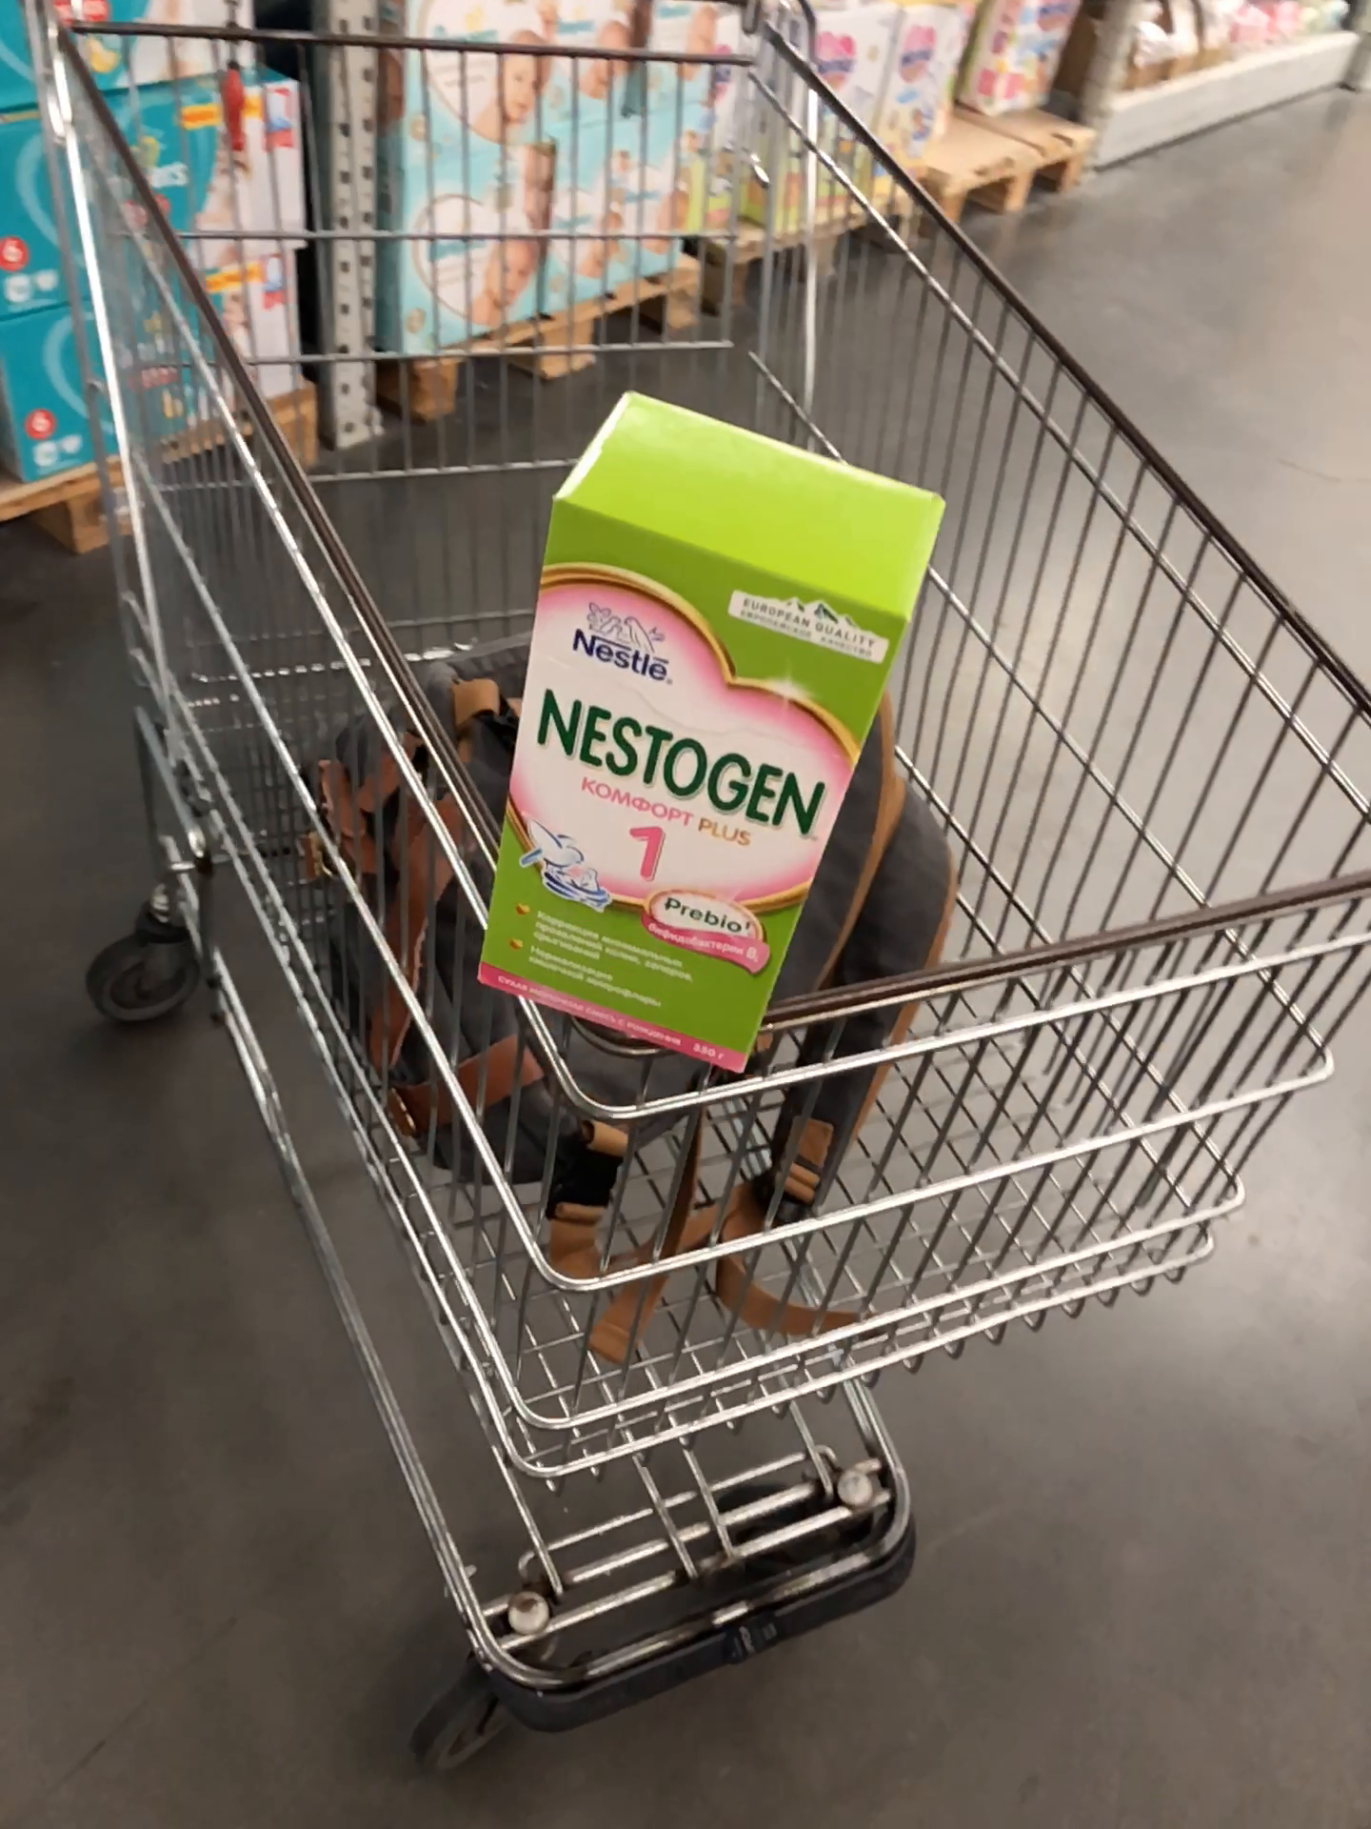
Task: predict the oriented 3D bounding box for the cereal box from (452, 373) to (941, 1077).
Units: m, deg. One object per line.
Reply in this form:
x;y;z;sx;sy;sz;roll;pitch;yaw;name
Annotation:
-0.003;-0.050;0.466;0.100;0.189;0.070;19;44;2;cereal box
